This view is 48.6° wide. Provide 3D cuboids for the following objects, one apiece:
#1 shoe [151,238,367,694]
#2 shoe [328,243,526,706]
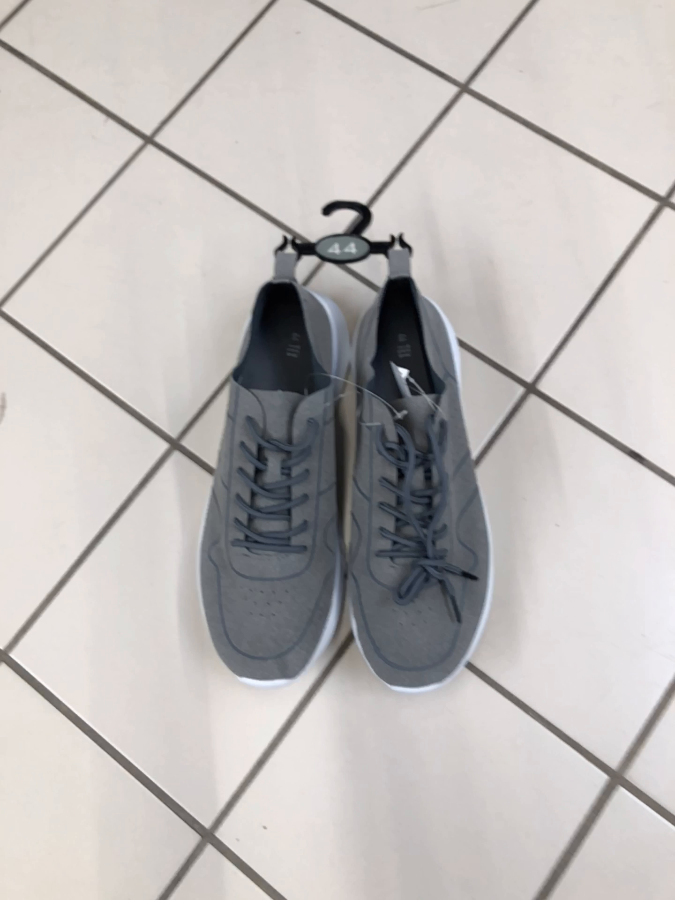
[{"bbox_3d":[-0.042,0.010,0.516,0.110,0.100,0.290,2,75,4],"label":"shoe"},{"bbox_3d":[0.053,0.017,0.507,0.110,0.100,0.290,-1,75,3],"label":"shoe"}]
